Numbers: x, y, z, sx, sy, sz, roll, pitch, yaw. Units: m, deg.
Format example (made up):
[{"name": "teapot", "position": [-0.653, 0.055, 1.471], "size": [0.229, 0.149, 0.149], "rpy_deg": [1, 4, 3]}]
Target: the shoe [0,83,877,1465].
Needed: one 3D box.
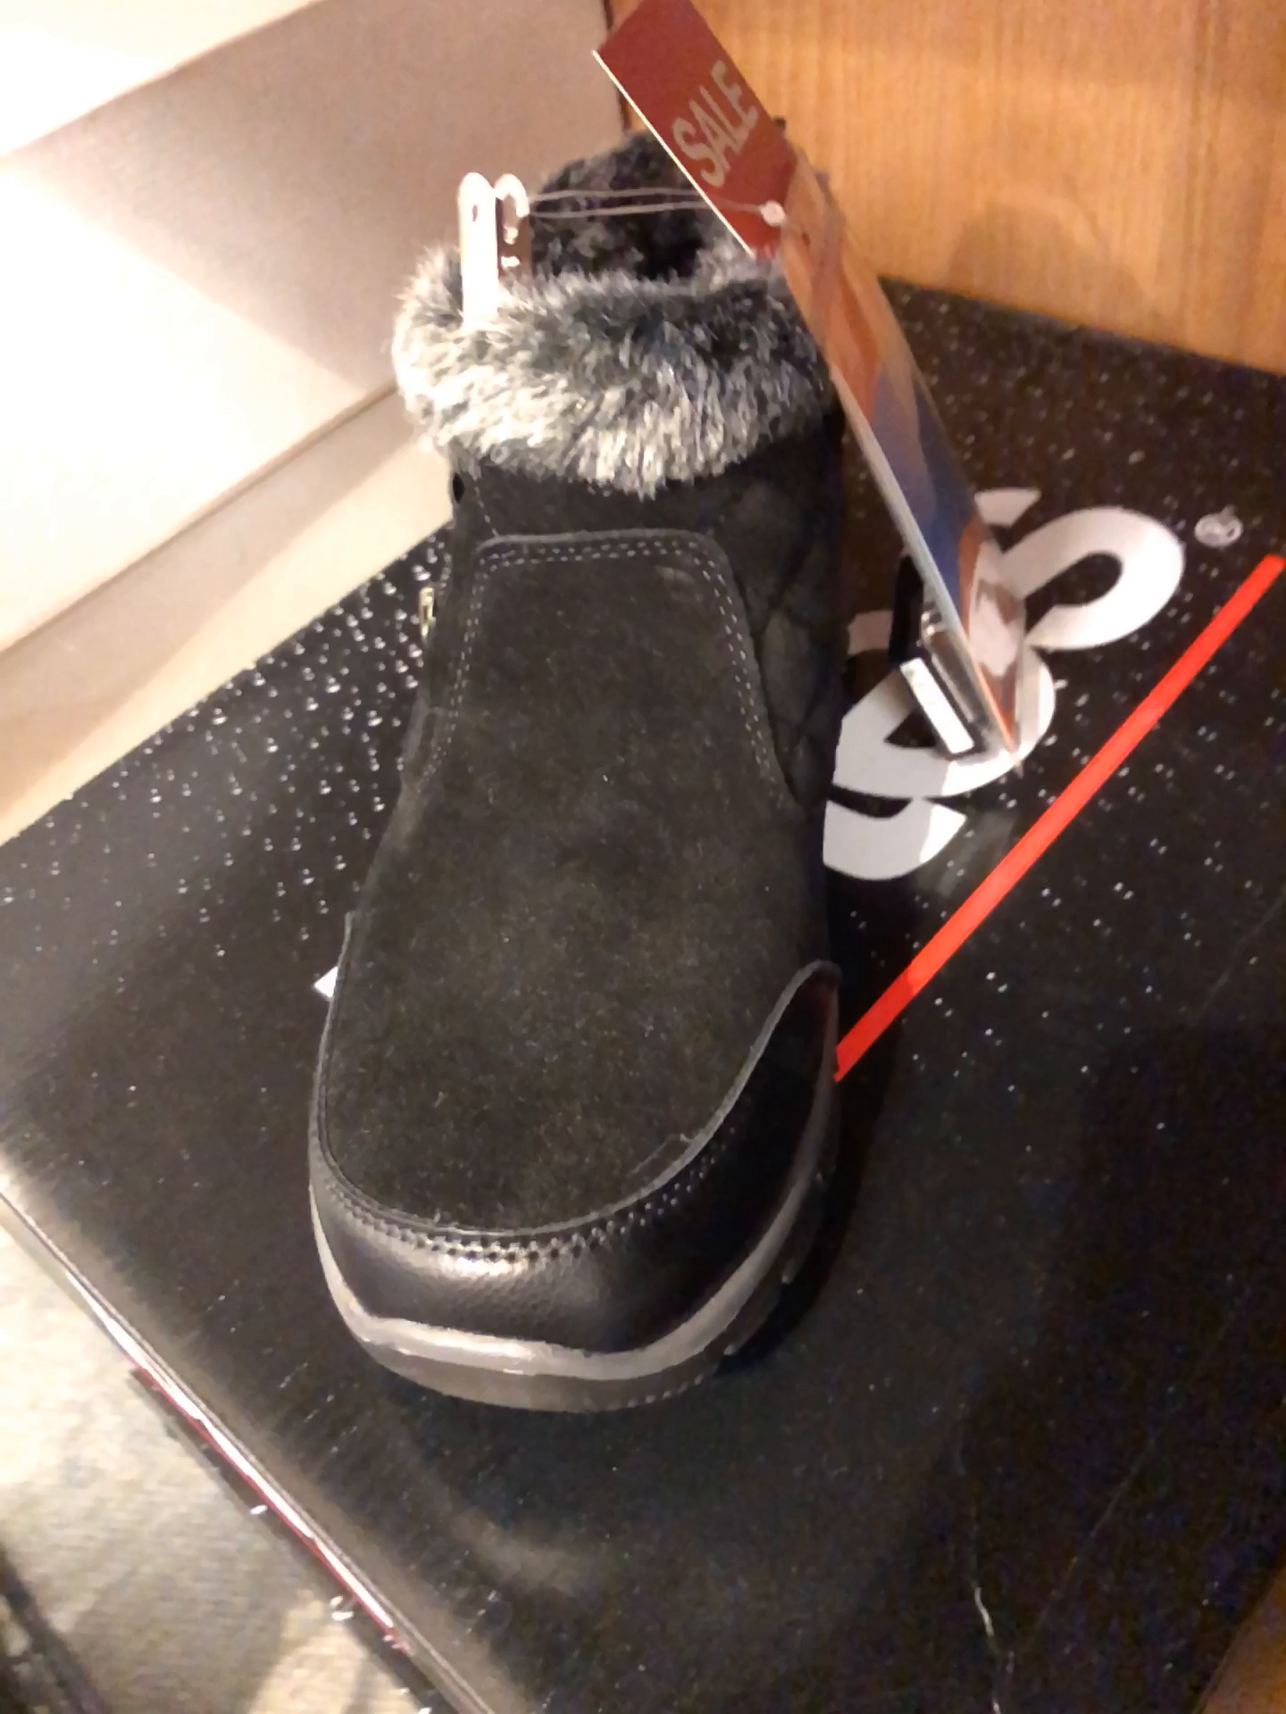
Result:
[{"name": "shoe", "position": [-0.019, -0.037, 0.278], "size": [0.105, 0.113, 0.250], "rpy_deg": [2, 48, 13]}]
